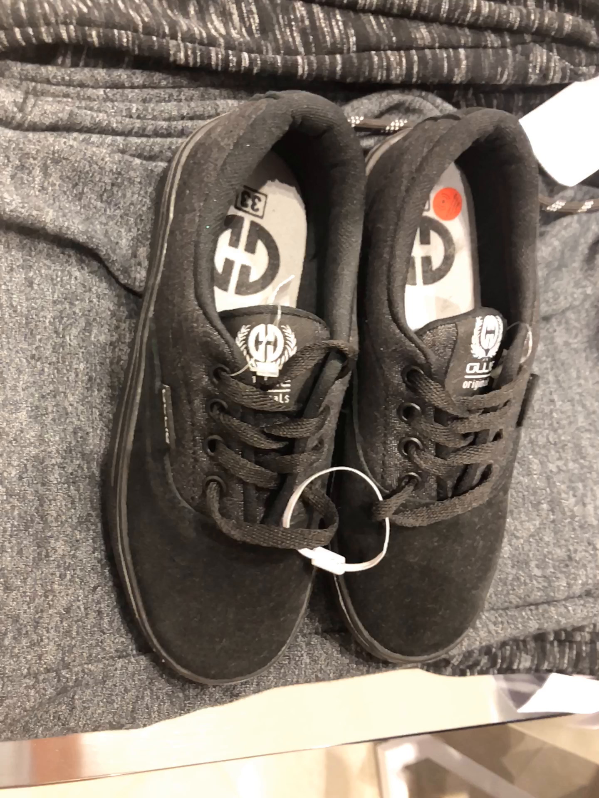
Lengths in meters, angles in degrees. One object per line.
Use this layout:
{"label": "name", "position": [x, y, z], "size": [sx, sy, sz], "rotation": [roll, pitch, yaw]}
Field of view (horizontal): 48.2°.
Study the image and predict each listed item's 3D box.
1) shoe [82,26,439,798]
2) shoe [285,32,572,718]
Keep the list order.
{"label": "shoe", "position": [-0.017, 0.006, 0.242], "size": [0.090, 0.080, 0.220], "rotation": [6, 86, -21]}
{"label": "shoe", "position": [0.052, -0.008, 0.287], "size": [0.090, 0.080, 0.240], "rotation": [2, 87, -22]}
